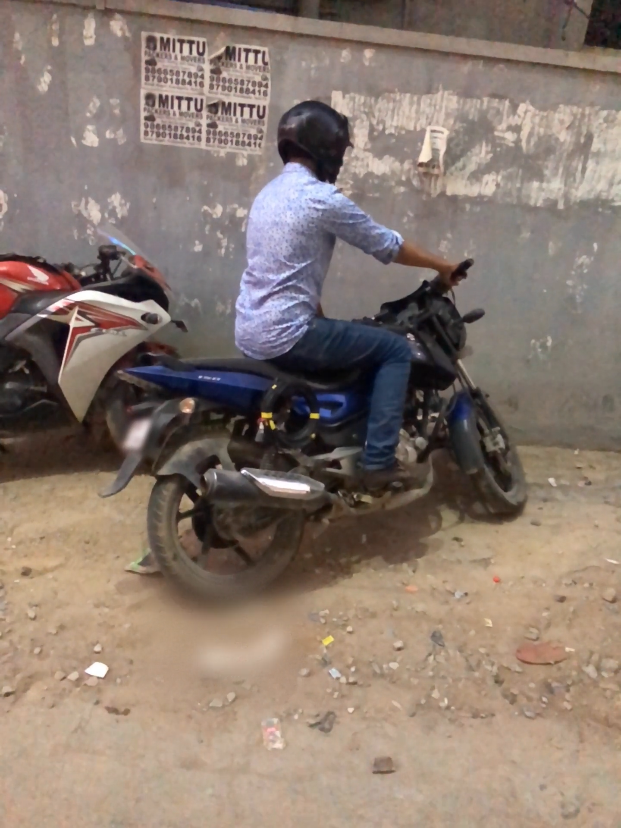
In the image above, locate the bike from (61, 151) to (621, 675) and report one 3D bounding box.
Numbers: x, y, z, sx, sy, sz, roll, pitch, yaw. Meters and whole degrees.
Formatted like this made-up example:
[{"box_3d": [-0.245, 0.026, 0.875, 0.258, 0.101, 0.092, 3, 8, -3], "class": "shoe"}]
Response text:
[{"box_3d": [0.109, -0.202, 2.499, 1.508, 1.113, 1.093, -21, 33, -35], "class": "bike"}]
